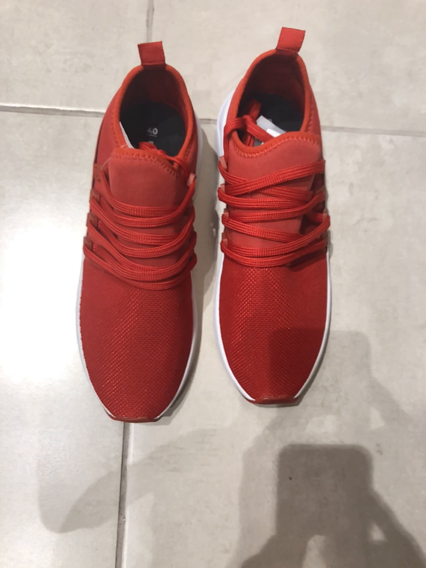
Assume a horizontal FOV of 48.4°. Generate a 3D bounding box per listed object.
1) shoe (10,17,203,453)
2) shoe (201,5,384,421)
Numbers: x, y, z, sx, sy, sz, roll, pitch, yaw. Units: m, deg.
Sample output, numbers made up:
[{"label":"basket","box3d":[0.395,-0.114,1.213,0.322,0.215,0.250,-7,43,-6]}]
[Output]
[{"label":"shoe","box3d":[-0.065,-0.028,0.361,0.100,0.140,0.270,3,82,-3]},{"label":"shoe","box3d":[0.046,-0.045,0.371,0.100,0.140,0.270,-1,83,-3]}]
